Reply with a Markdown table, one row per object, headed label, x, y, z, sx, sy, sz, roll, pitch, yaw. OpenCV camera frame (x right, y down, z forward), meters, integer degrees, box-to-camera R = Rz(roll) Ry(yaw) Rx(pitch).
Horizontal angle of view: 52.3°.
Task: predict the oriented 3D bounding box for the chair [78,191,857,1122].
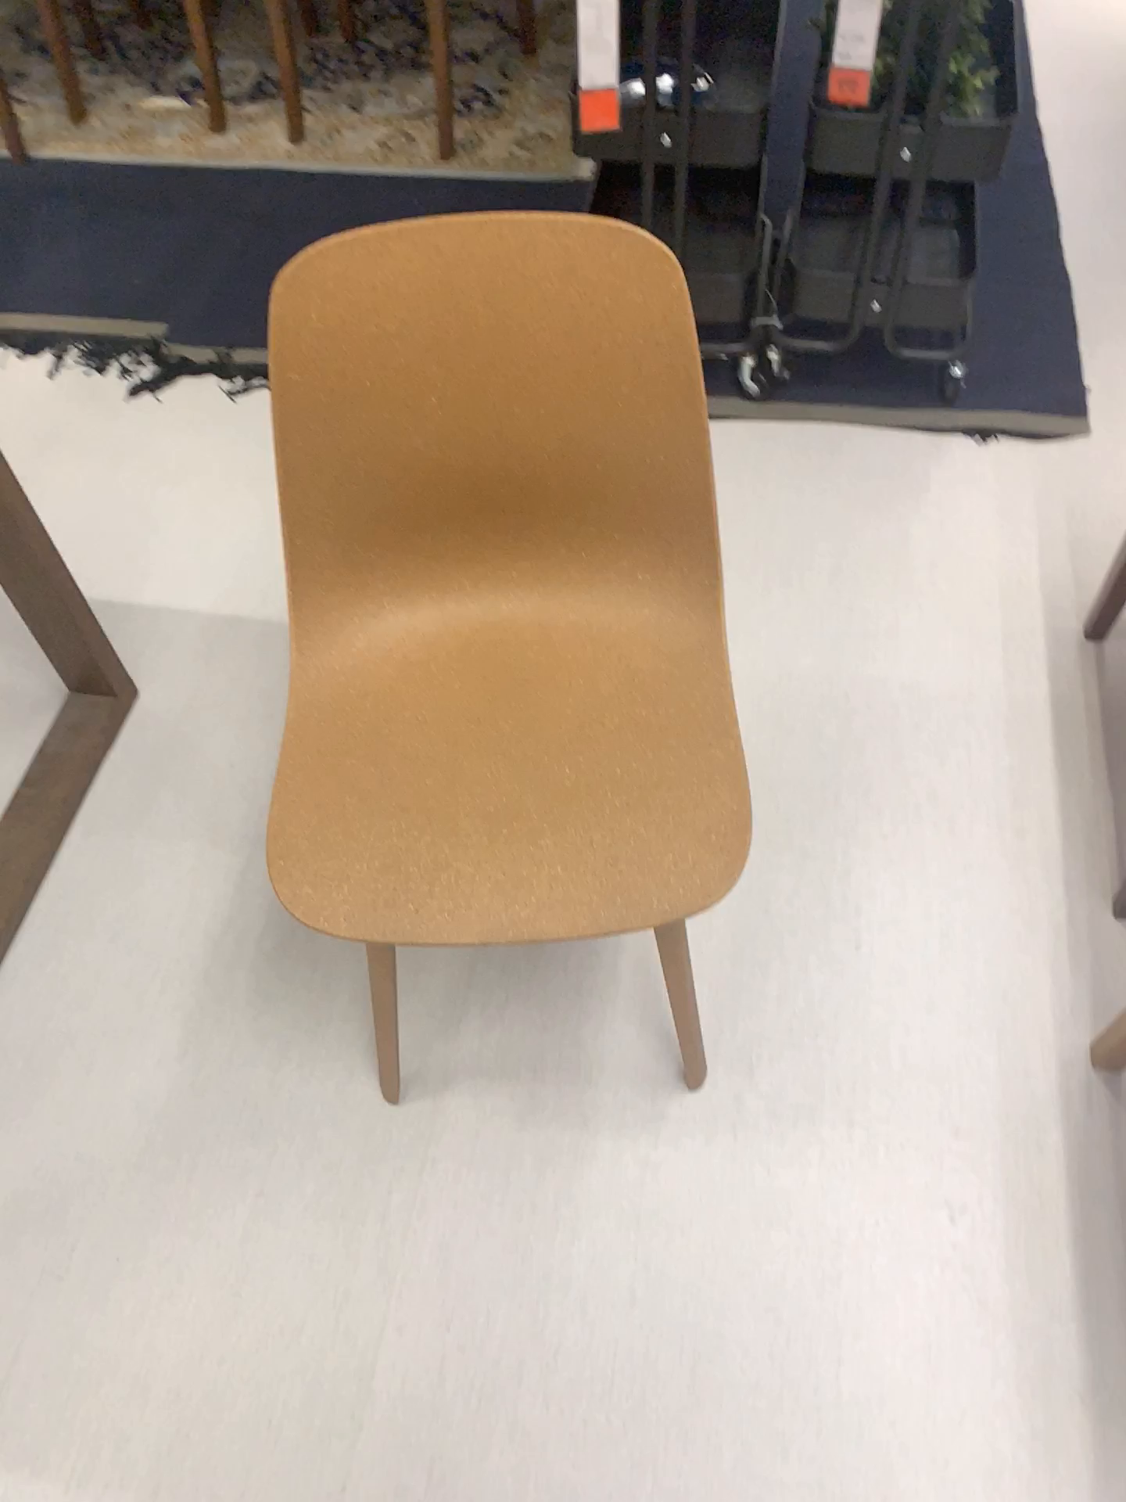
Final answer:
| label | x | y | z | sx | sy | sz | roll | pitch | yaw |
| --- | --- | --- | --- | --- | --- | --- | --- | --- | --- |
| chair | -0.044 | -0.030 | 1.088 | 0.440 | 0.718 | 0.522 | -3 | 55 | 2 |
